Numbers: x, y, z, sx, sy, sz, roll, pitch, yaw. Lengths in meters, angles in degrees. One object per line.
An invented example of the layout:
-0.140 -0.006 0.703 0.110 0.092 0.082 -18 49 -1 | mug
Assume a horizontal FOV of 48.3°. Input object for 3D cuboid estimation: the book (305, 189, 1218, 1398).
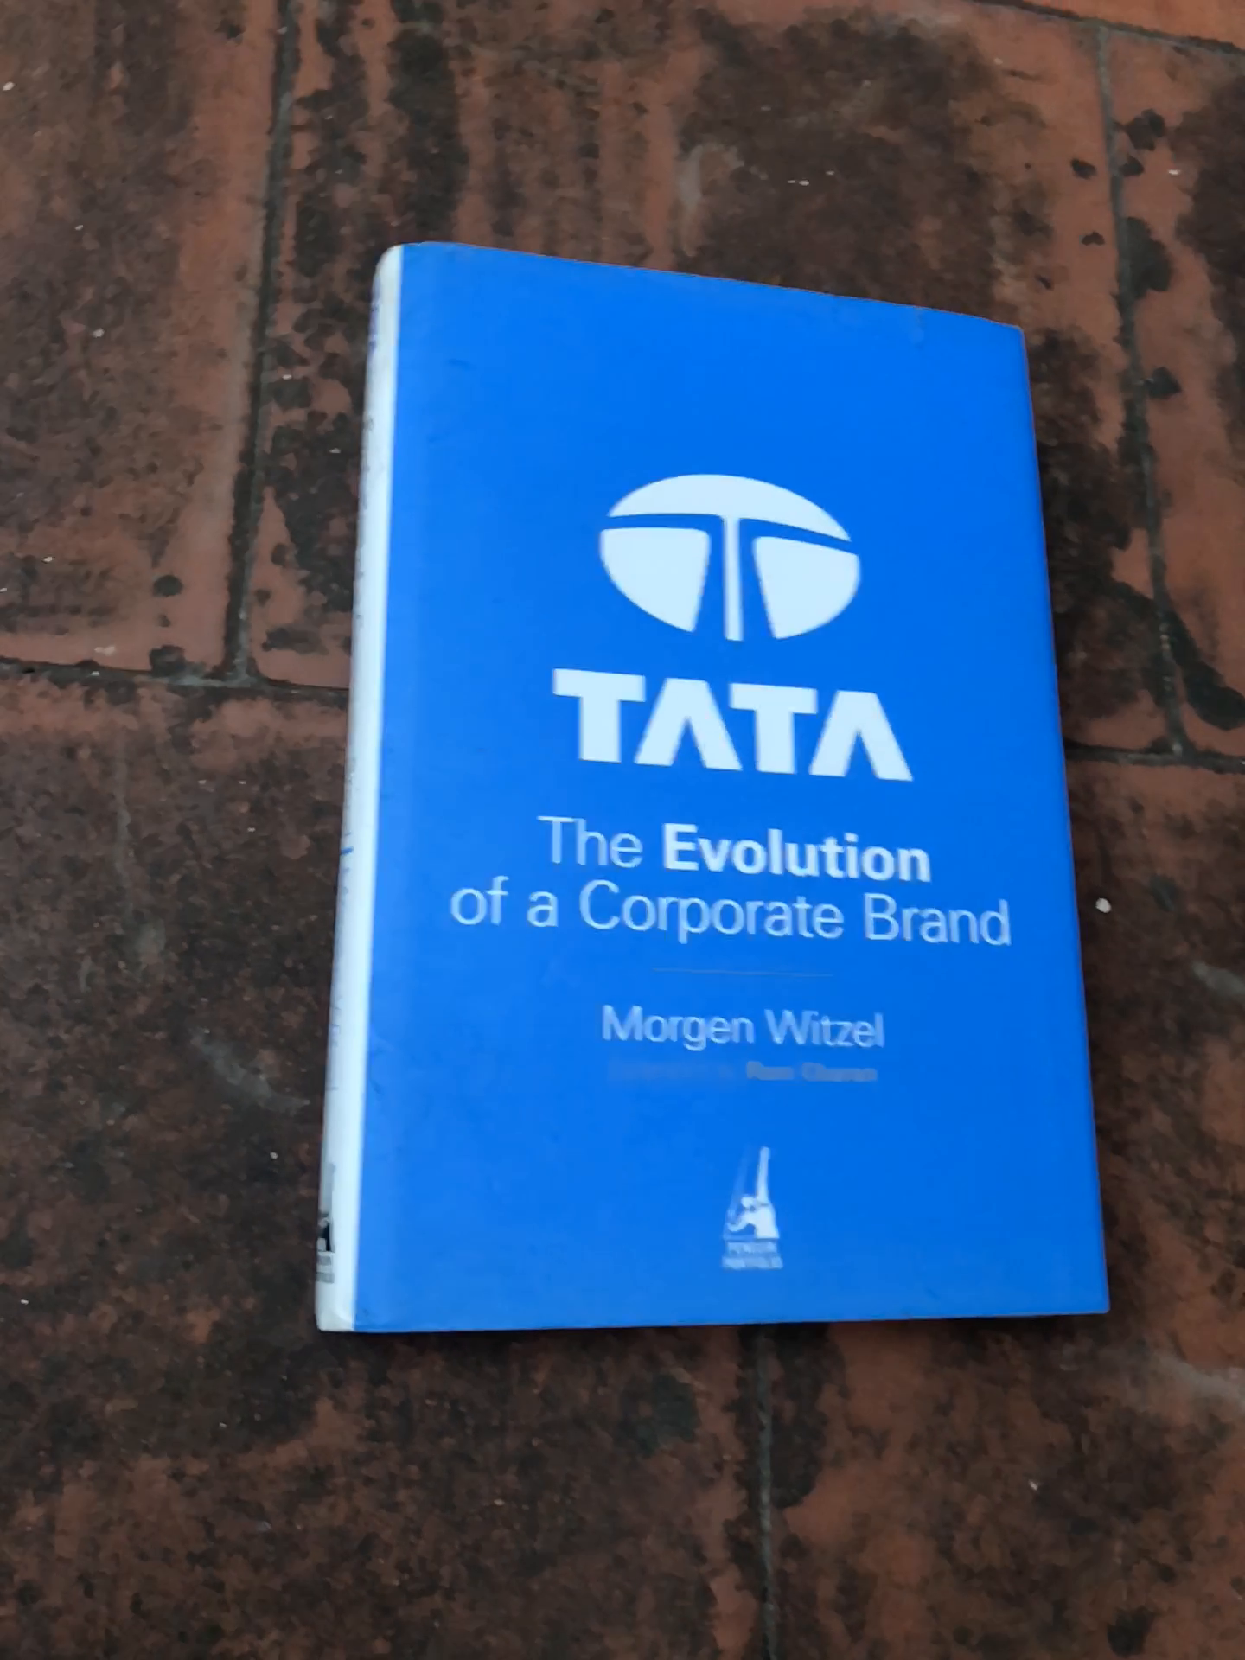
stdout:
0.026 -0.011 0.299 0.170 0.040 0.240 3 73 -12 | book
